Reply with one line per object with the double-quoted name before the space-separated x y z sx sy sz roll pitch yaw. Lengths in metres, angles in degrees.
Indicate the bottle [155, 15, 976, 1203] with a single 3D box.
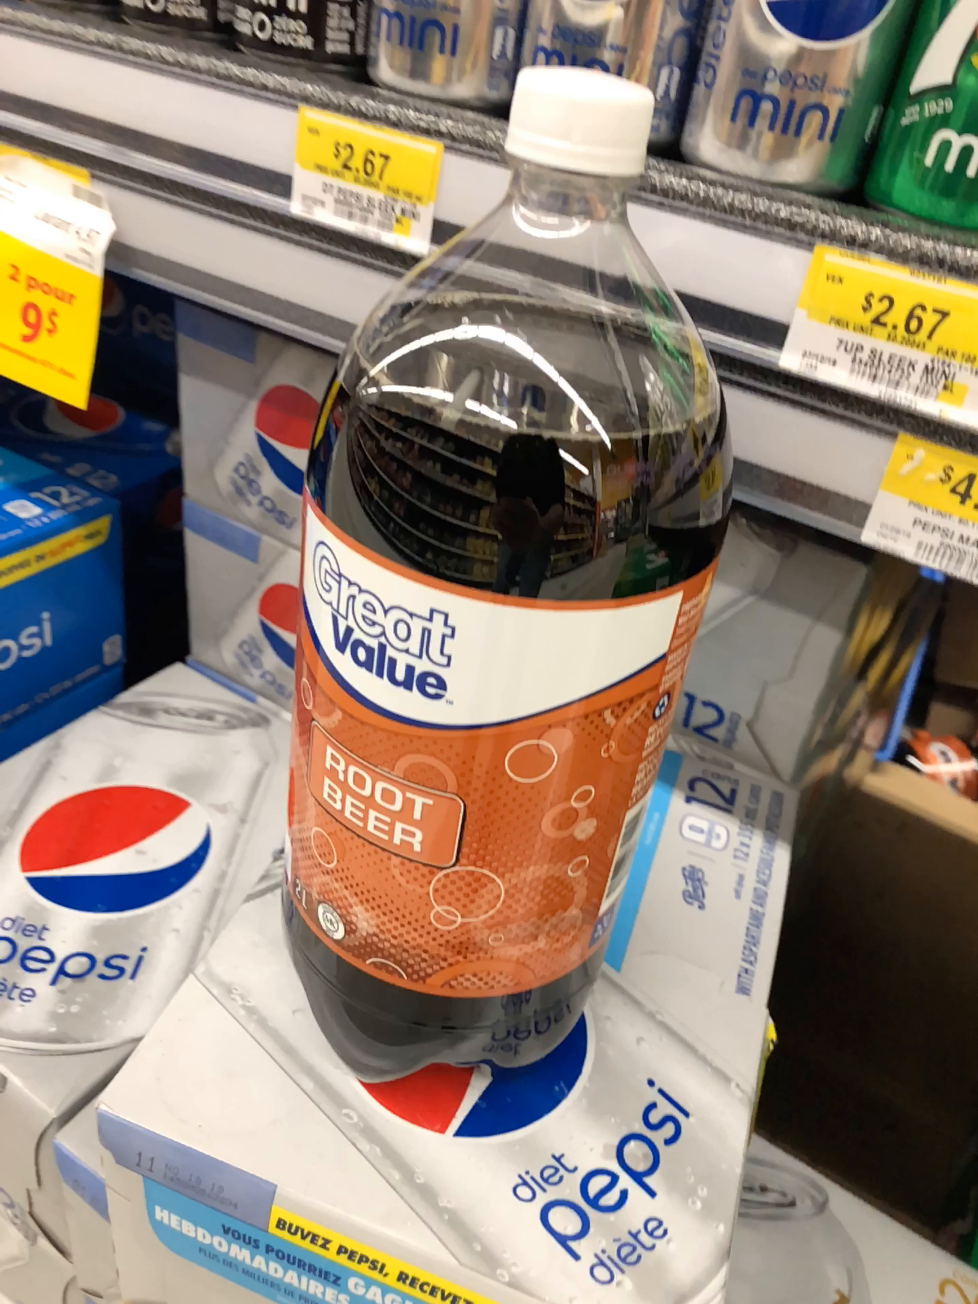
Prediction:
"bottle" 0.006 -0.007 0.291 0.120 0.268 0.121 6 35 -4
